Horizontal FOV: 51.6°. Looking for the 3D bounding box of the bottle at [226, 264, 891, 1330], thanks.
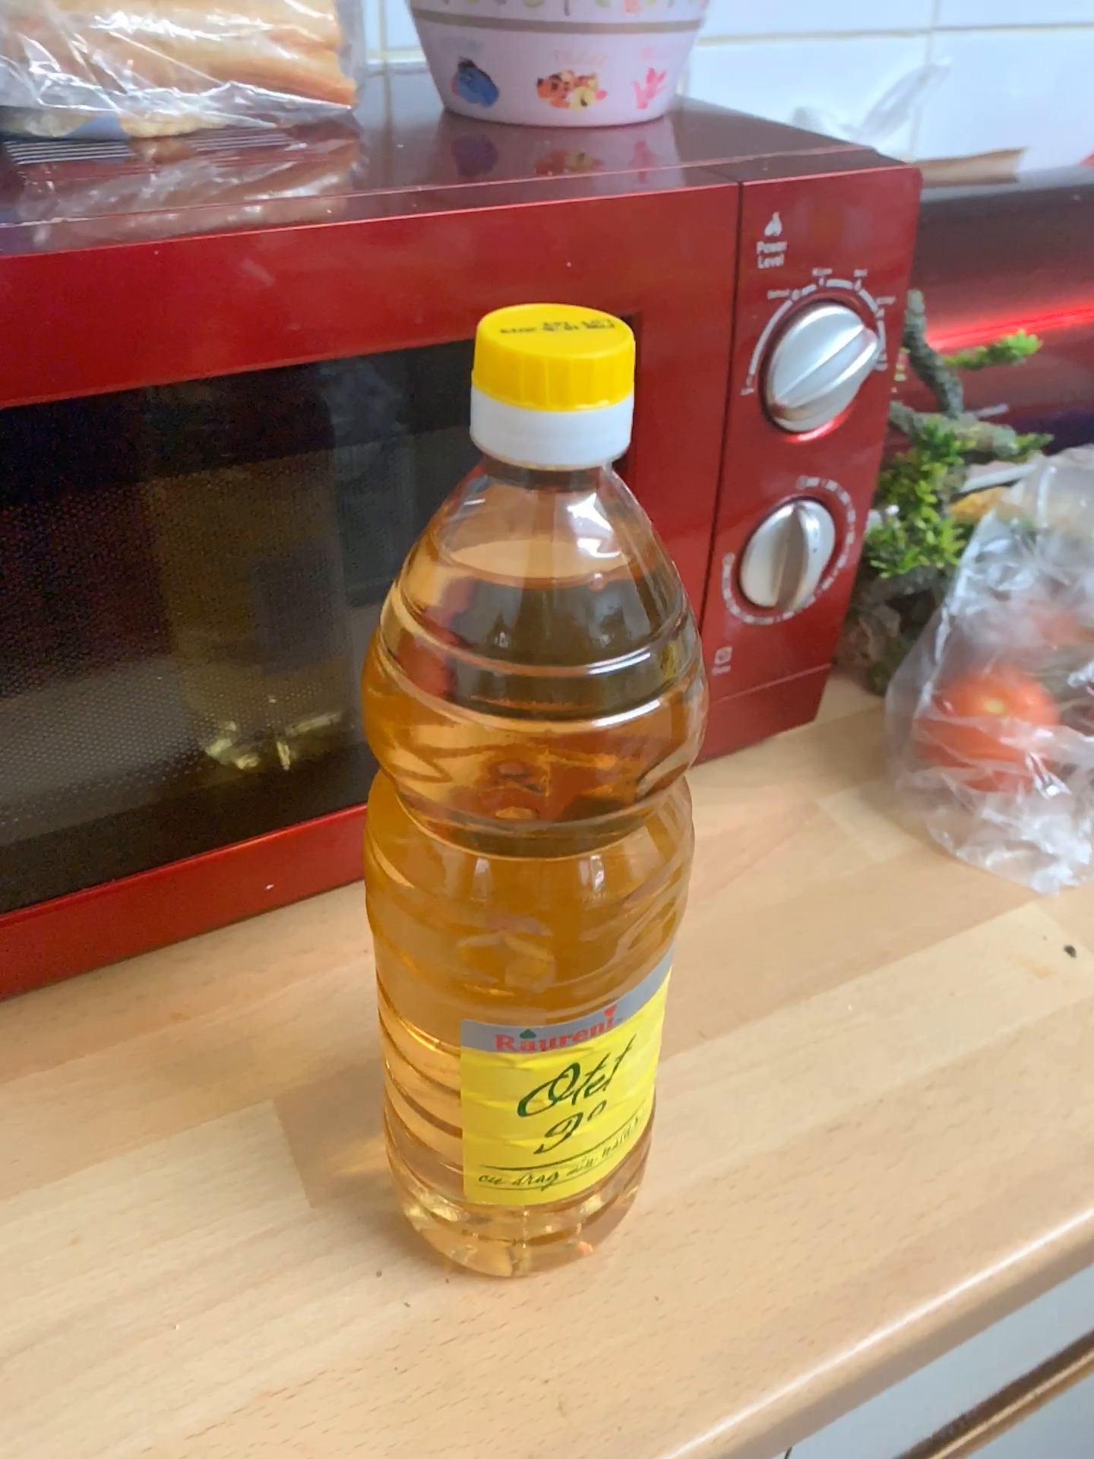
[{"bbox_3d":[-0.005,0.026,0.260,0.090,0.228,0.081,-13,38,-18],"label":"bottle"}]
